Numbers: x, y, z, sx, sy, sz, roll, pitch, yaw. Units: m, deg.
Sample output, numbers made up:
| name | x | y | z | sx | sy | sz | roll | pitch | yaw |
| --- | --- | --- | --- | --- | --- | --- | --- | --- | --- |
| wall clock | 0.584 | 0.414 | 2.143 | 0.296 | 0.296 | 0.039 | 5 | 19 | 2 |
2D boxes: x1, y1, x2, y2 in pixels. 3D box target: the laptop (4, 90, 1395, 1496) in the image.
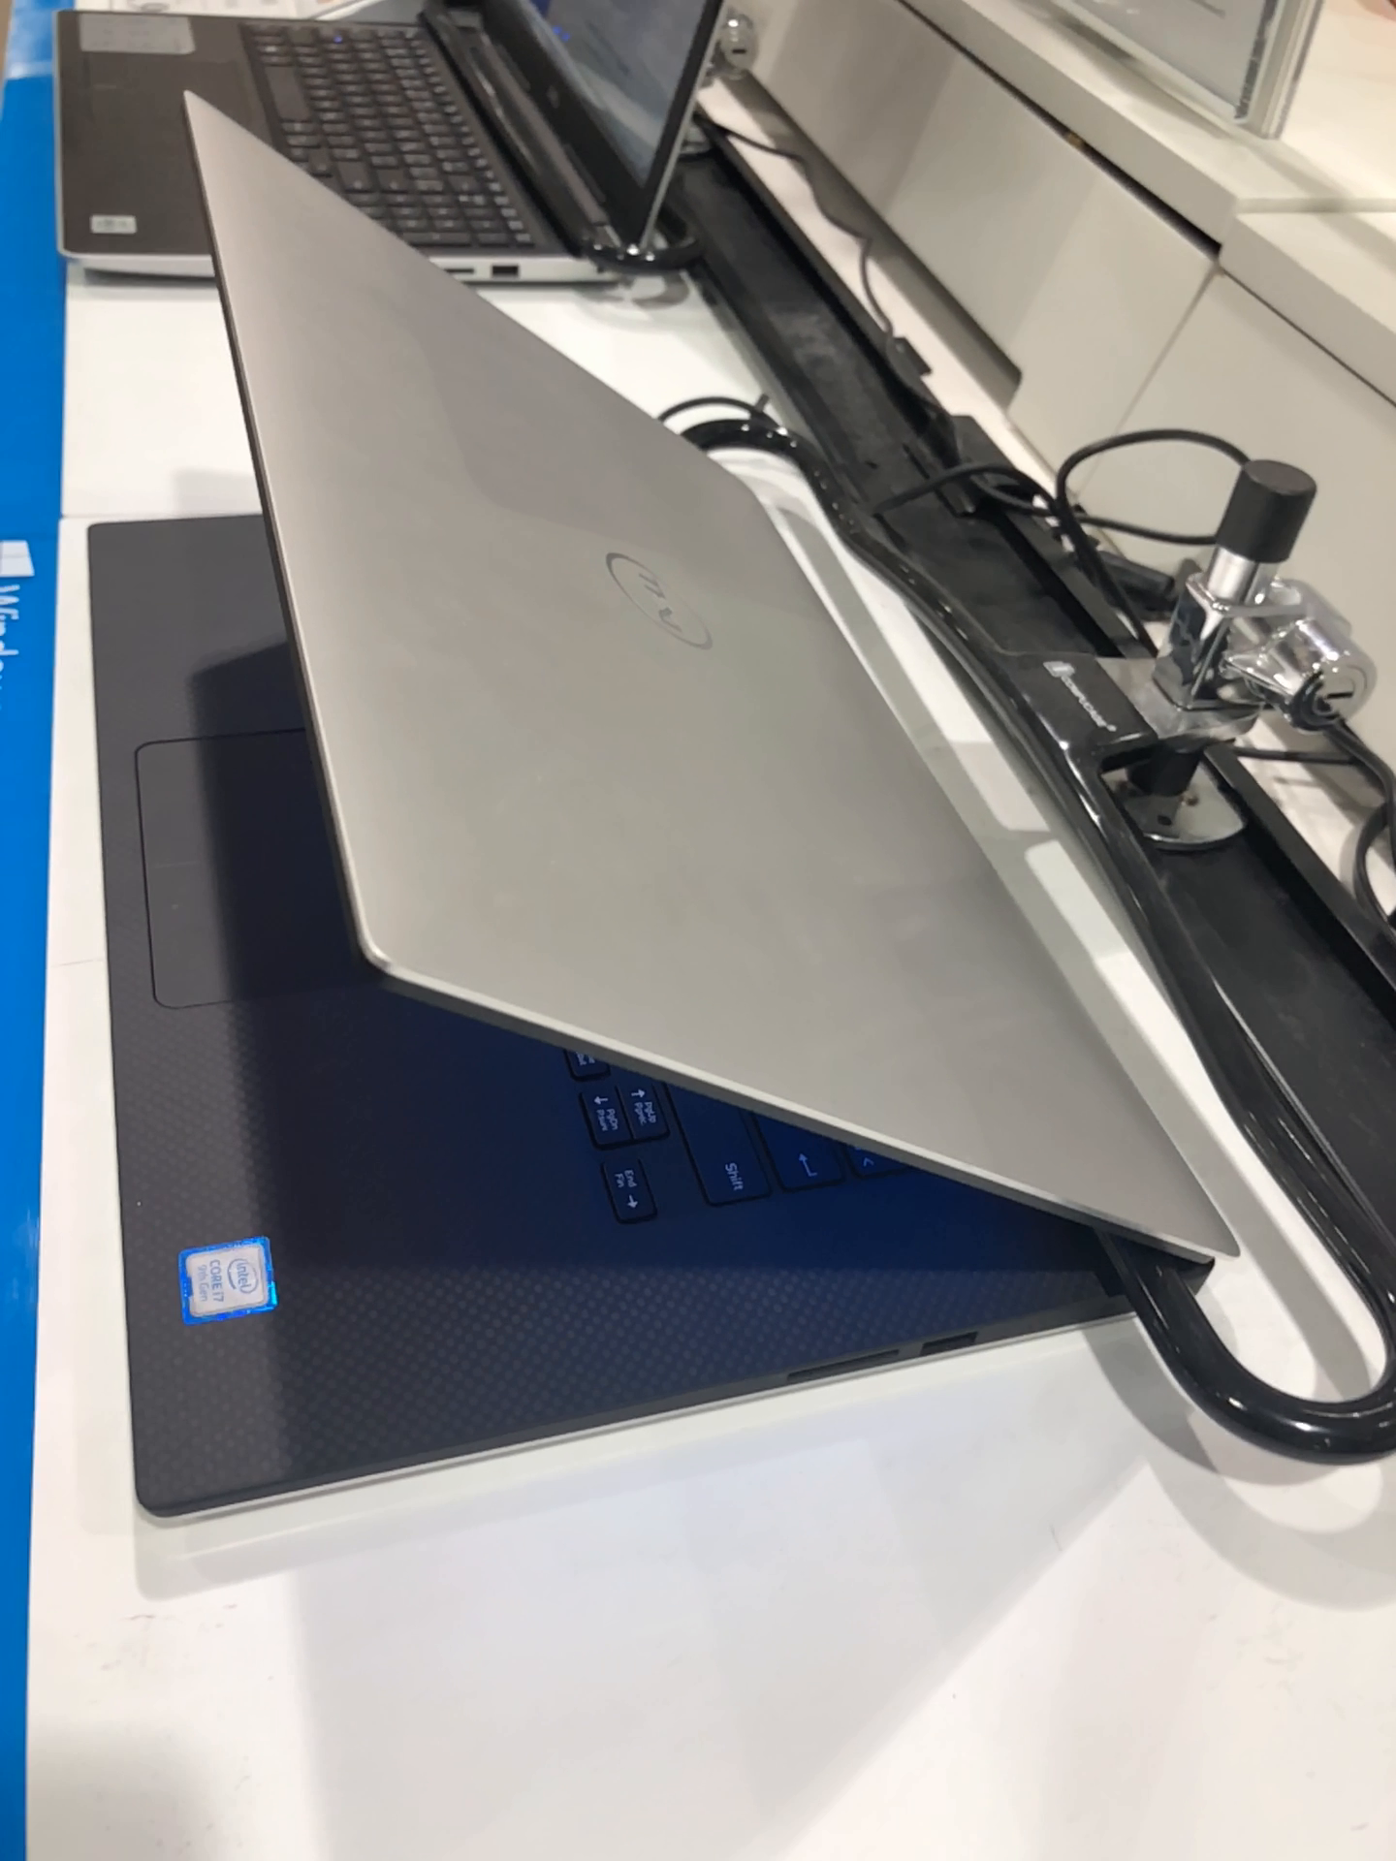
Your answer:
| name | x | y | z | sx | sy | sz | roll | pitch | yaw |
| --- | --- | --- | --- | --- | --- | --- | --- | --- | --- |
| laptop | -0.040 | -0.078 | 0.382 | 0.216 | 0.133 | 0.347 | -8 | 46 | -17 |
